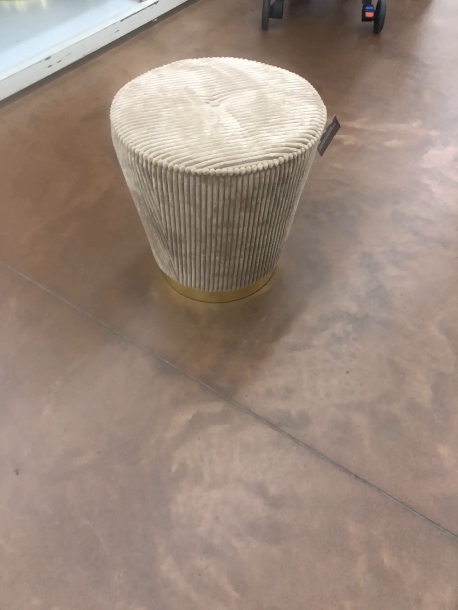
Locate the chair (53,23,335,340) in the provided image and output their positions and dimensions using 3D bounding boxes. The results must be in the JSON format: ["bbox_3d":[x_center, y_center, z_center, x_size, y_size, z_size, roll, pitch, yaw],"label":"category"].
[{"bbox_3d":[-0.042,-0.285,1.164,0.420,0.479,0.451,14,52,11],"label":"chair"}]
